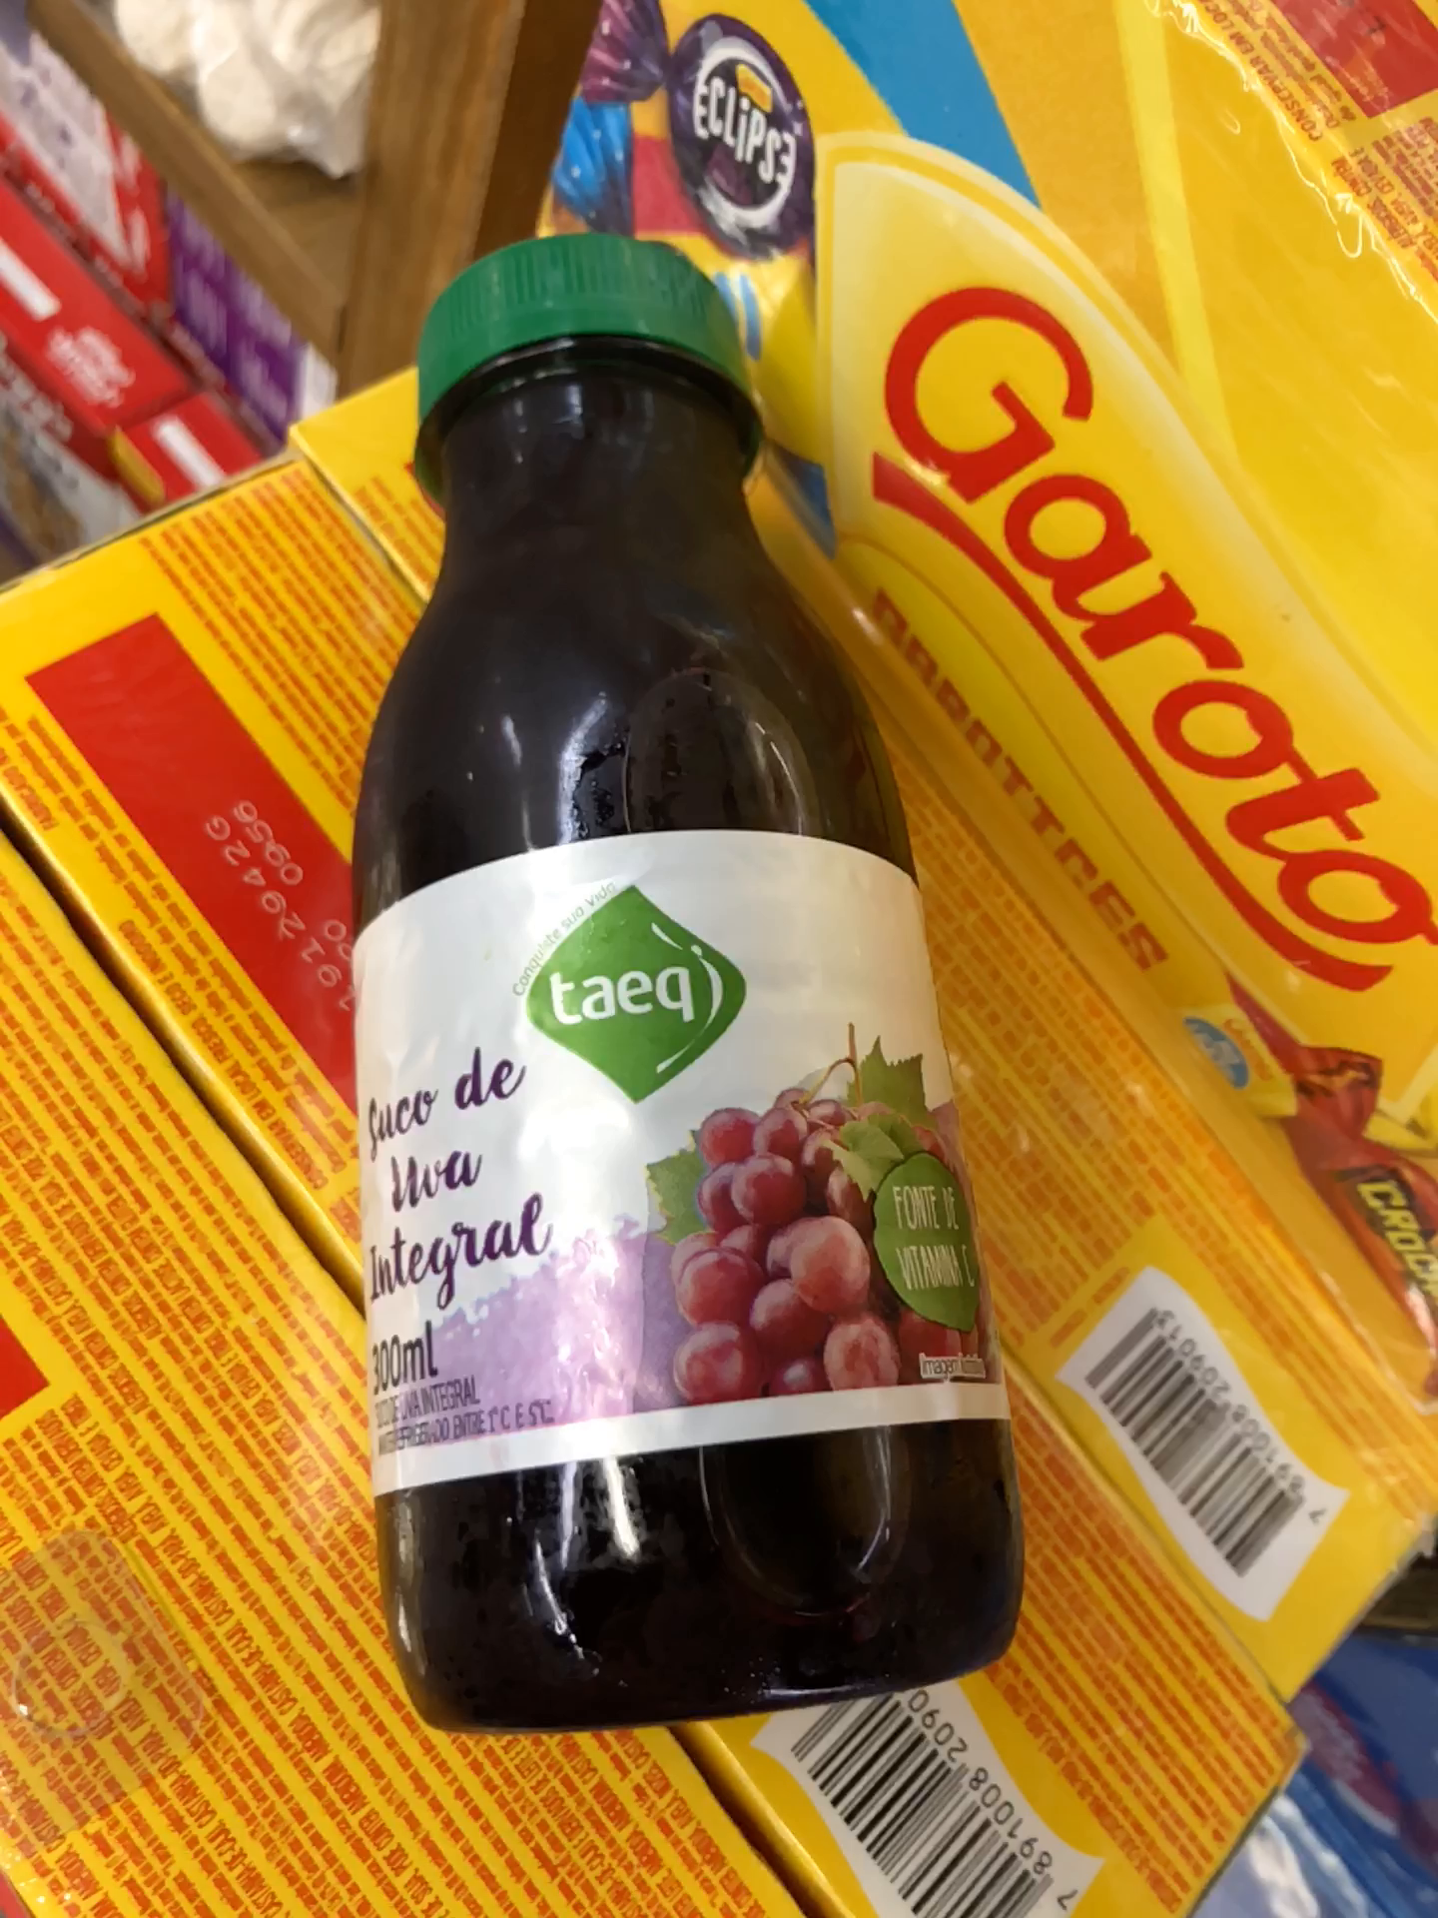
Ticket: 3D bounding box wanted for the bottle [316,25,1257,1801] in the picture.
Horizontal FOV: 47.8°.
[{"bbox_3d":[-0.004,-0.011,0.177,0.070,0.050,0.170,1,69,-19],"label":"bottle"}]
